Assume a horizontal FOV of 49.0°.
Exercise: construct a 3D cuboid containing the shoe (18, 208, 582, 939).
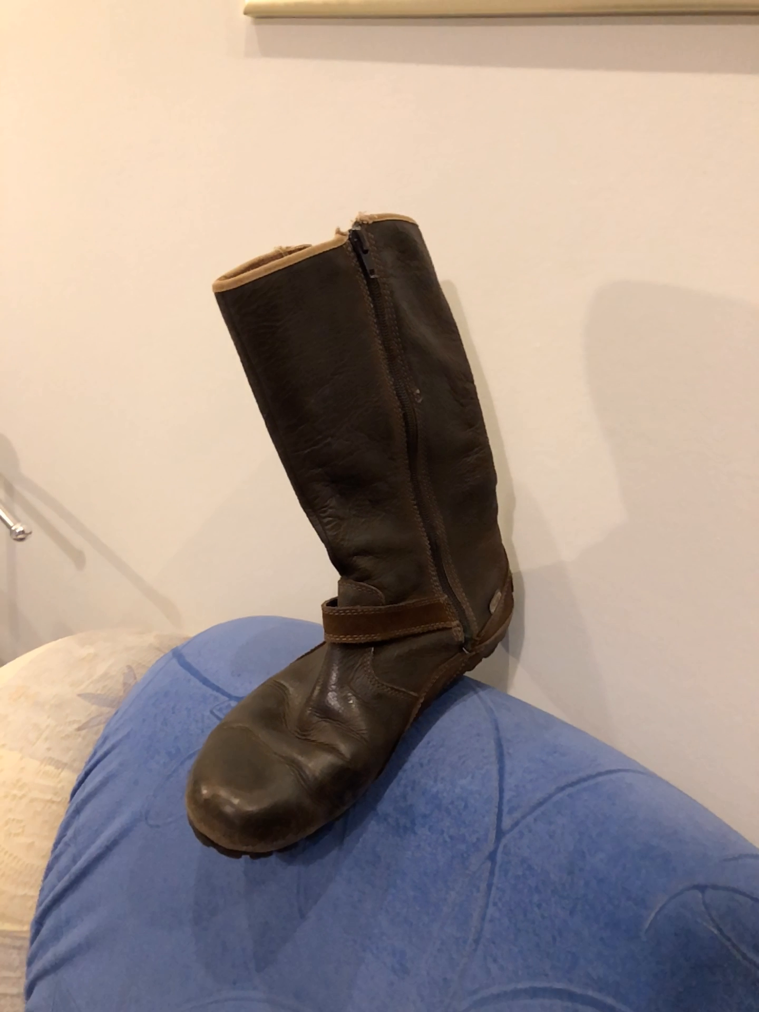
[{"bbox_3d":[-0.006,0.018,0.456,0.110,0.278,0.272,18,39,31],"label":"shoe"}]
